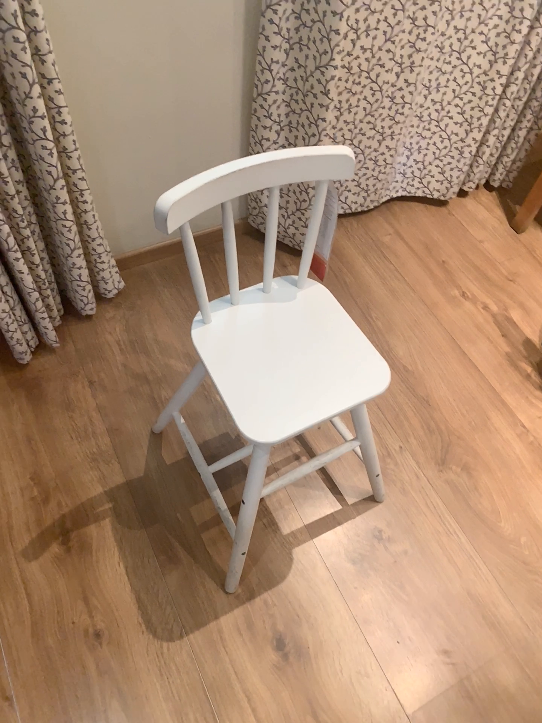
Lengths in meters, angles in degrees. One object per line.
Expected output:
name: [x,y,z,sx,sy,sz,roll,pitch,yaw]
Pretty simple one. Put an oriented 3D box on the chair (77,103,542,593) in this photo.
chair: [0.025,0.019,0.962,0.450,0.648,0.431,-24,62,-20]
